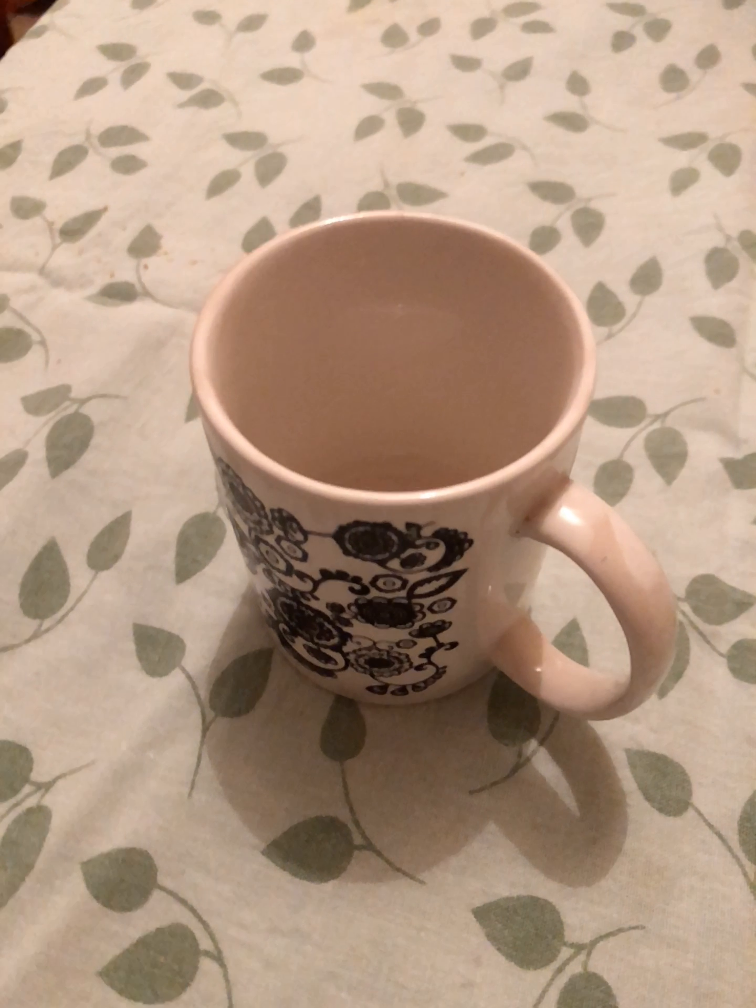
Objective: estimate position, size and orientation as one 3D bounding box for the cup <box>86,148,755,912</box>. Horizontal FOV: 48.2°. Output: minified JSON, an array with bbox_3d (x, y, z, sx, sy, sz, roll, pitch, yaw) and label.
[{"bbox_3d":[0.016,0.006,0.192,0.080,0.099,0.120,-39,64,-23],"label":"cup"}]
